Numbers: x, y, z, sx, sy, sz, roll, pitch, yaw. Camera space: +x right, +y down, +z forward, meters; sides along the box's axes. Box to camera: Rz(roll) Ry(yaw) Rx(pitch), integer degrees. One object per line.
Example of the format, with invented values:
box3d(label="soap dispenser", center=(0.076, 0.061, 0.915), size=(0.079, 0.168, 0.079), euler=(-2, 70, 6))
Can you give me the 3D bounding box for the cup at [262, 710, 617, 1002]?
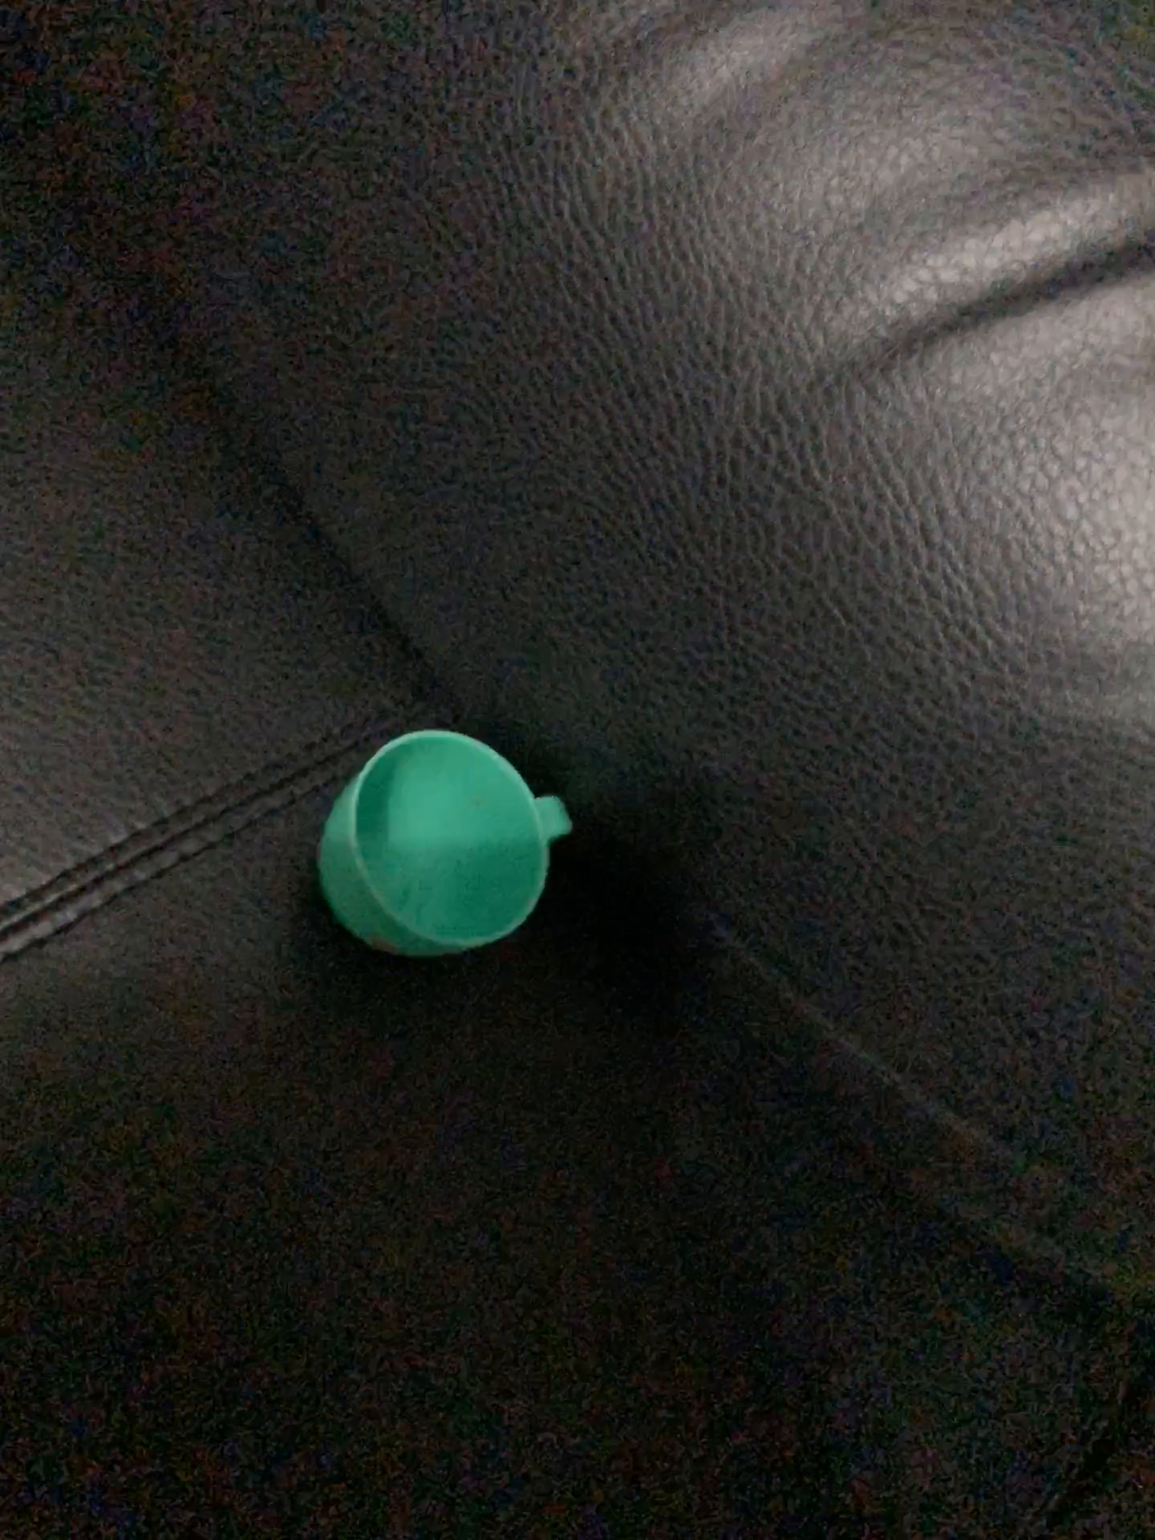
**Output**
box3d(label="cup", center=(-0.032, 0.018, 0.273), size=(0.063, 0.030, 0.053), euler=(-4, 68, -36))
